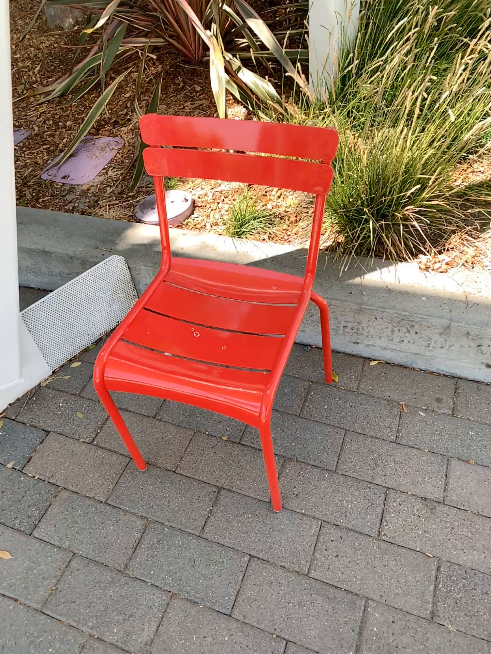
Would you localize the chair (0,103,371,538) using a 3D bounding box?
[{"bbox_3d":[-0.067,-0.025,1.260,0.581,0.786,0.632,11,47,17],"label":"chair"}]
